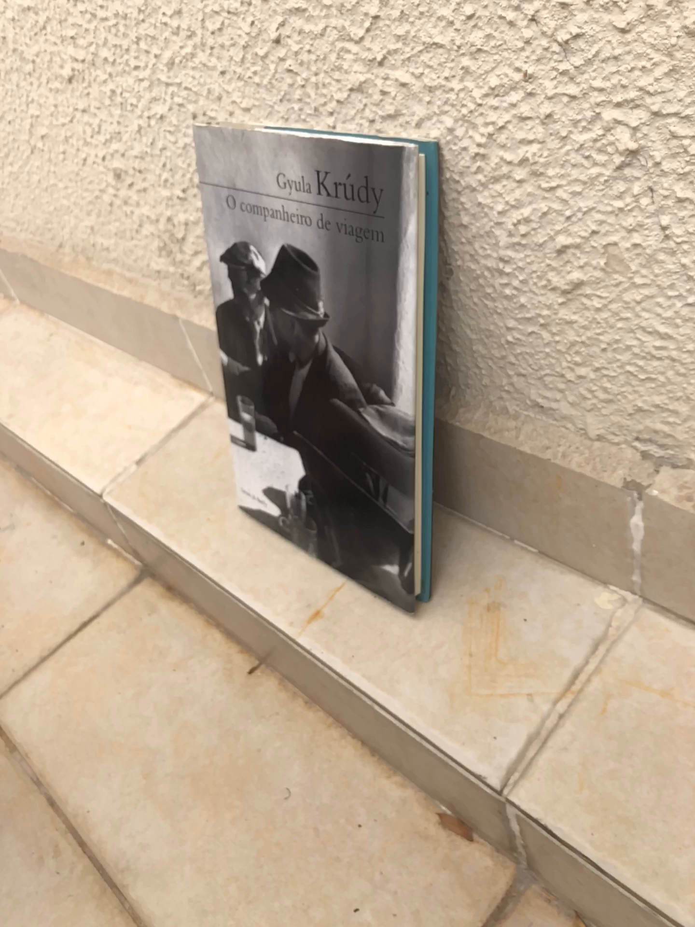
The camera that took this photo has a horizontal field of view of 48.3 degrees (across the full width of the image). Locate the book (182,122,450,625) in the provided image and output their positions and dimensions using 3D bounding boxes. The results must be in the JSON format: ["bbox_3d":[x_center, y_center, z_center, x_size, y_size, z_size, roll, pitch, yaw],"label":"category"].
[{"bbox_3d":[-0.016,-0.041,0.358,0.019,0.204,0.138,-27,38,-36],"label":"book"}]
